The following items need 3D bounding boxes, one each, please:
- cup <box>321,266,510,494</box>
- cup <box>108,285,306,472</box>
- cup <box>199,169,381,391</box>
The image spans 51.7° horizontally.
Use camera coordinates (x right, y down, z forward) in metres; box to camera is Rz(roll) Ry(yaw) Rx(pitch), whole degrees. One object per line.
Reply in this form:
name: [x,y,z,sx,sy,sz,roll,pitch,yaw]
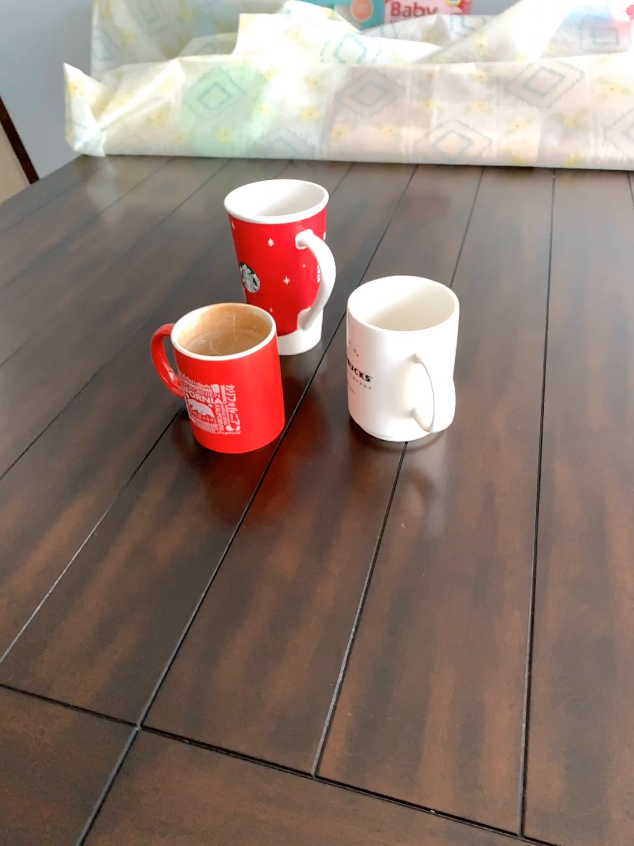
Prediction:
cup: [0.072,-0.040,0.536,0.100,0.109,0.141,-12,41,-9]
cup: [-0.087,-0.041,0.543,0.120,0.090,0.090,21,46,26]
cup: [-0.024,-0.139,0.617,0.100,0.139,0.141,-25,45,-23]
